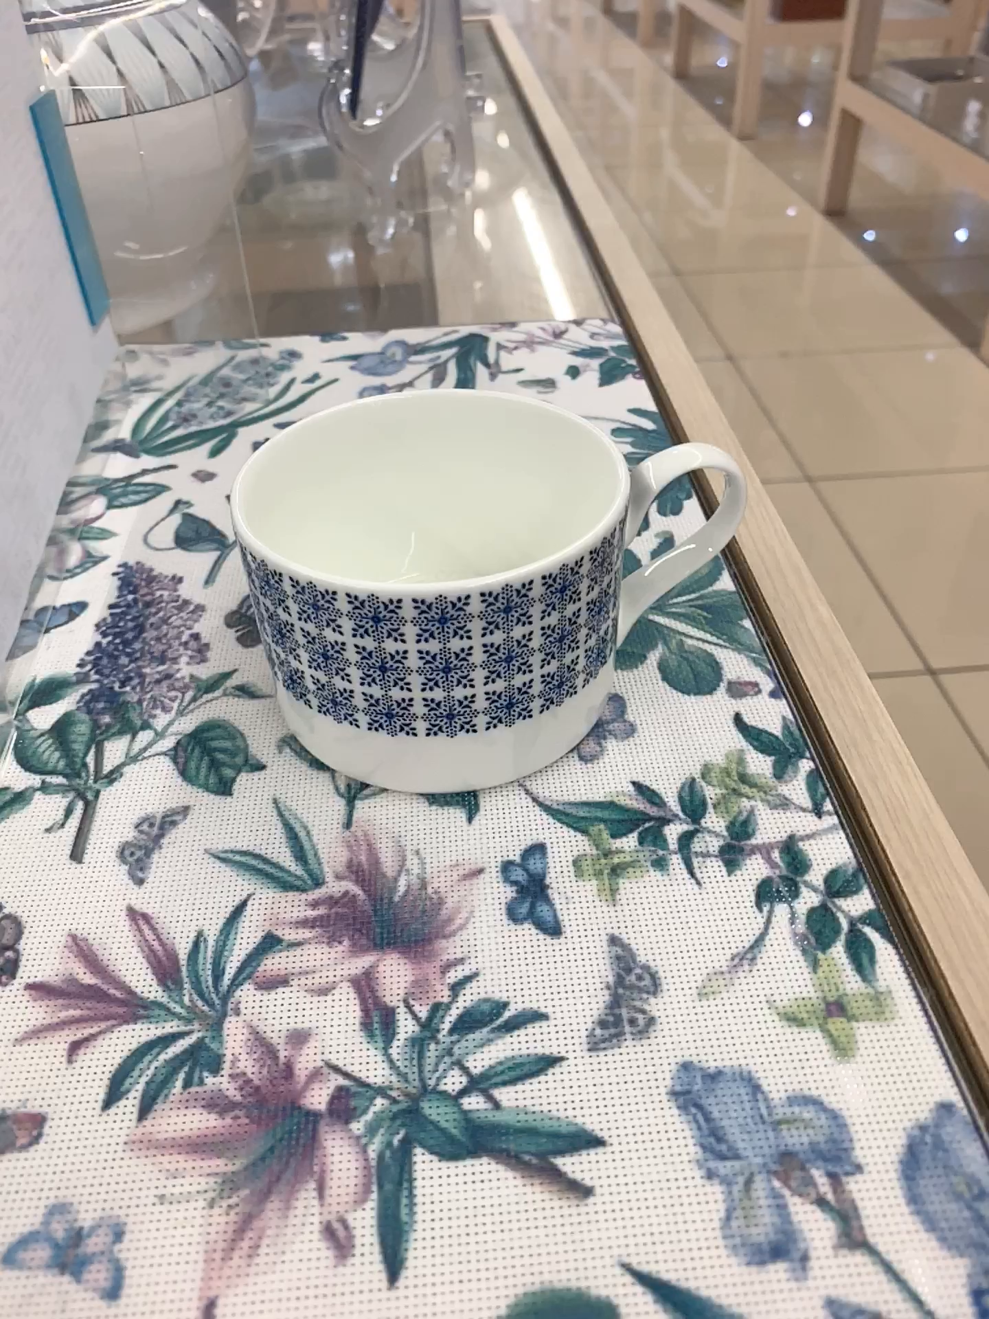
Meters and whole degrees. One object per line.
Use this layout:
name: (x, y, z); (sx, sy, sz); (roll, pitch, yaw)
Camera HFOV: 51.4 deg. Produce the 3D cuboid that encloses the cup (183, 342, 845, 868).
cup: (-0.001, -0.020, 0.241); (0.120, 0.060, 0.090); (-13, 41, -14)
